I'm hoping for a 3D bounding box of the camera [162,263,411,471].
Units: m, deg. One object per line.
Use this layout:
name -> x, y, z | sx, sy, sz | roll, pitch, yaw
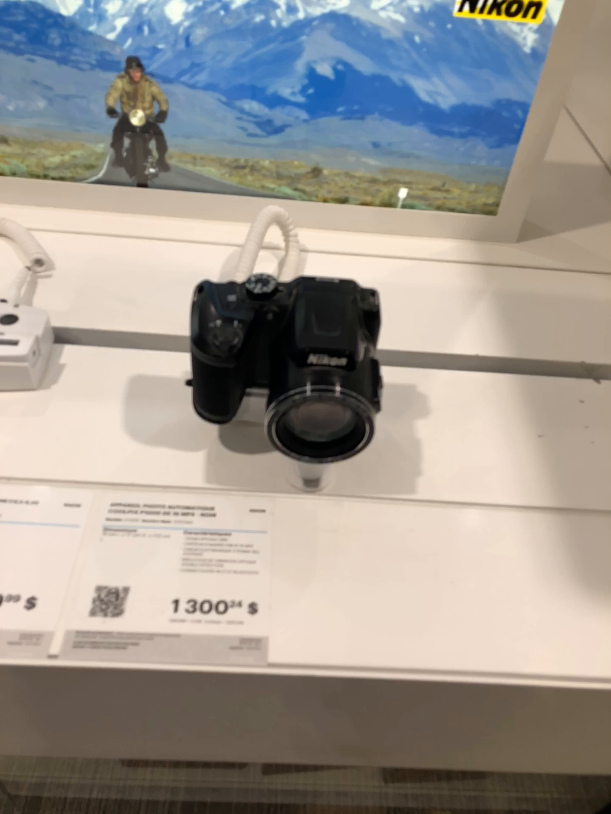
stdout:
camera -> -0.012, -0.023, 0.369 | 0.117, 0.067, 0.092 | 2, 44, -4
